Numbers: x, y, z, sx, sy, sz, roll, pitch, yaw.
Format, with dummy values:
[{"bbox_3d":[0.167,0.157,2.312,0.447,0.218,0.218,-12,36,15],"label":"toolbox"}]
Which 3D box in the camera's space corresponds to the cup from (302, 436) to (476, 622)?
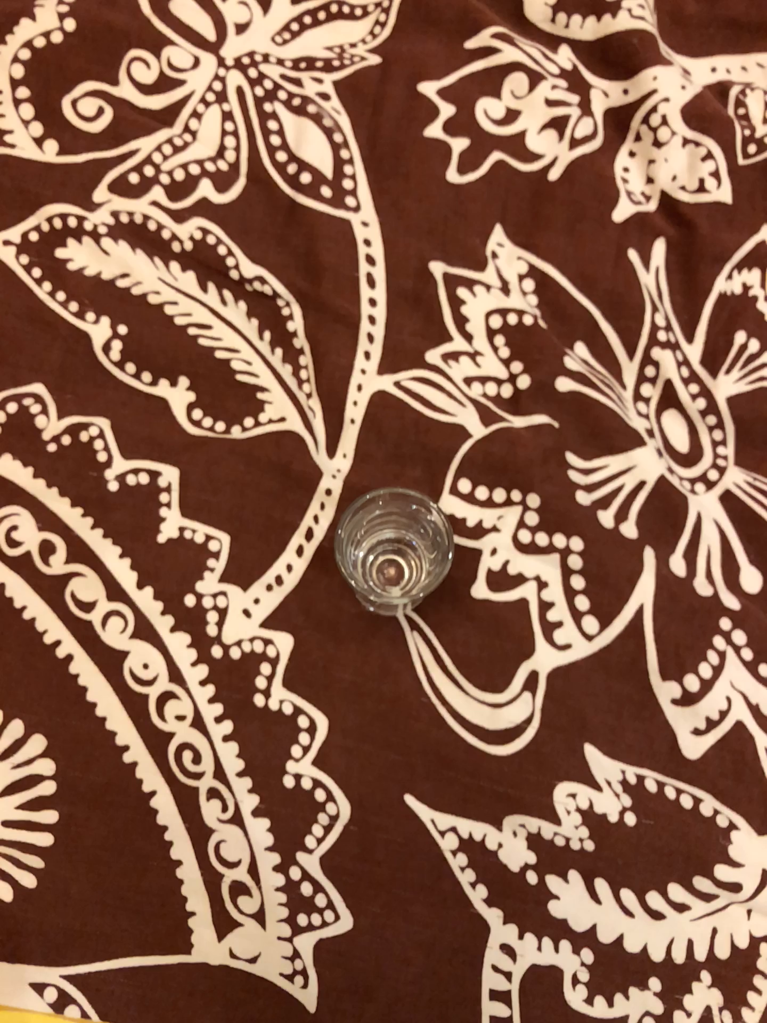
[{"bbox_3d":[0.002,0.010,0.333,0.045,0.070,0.042,0,78,1],"label":"cup"}]
